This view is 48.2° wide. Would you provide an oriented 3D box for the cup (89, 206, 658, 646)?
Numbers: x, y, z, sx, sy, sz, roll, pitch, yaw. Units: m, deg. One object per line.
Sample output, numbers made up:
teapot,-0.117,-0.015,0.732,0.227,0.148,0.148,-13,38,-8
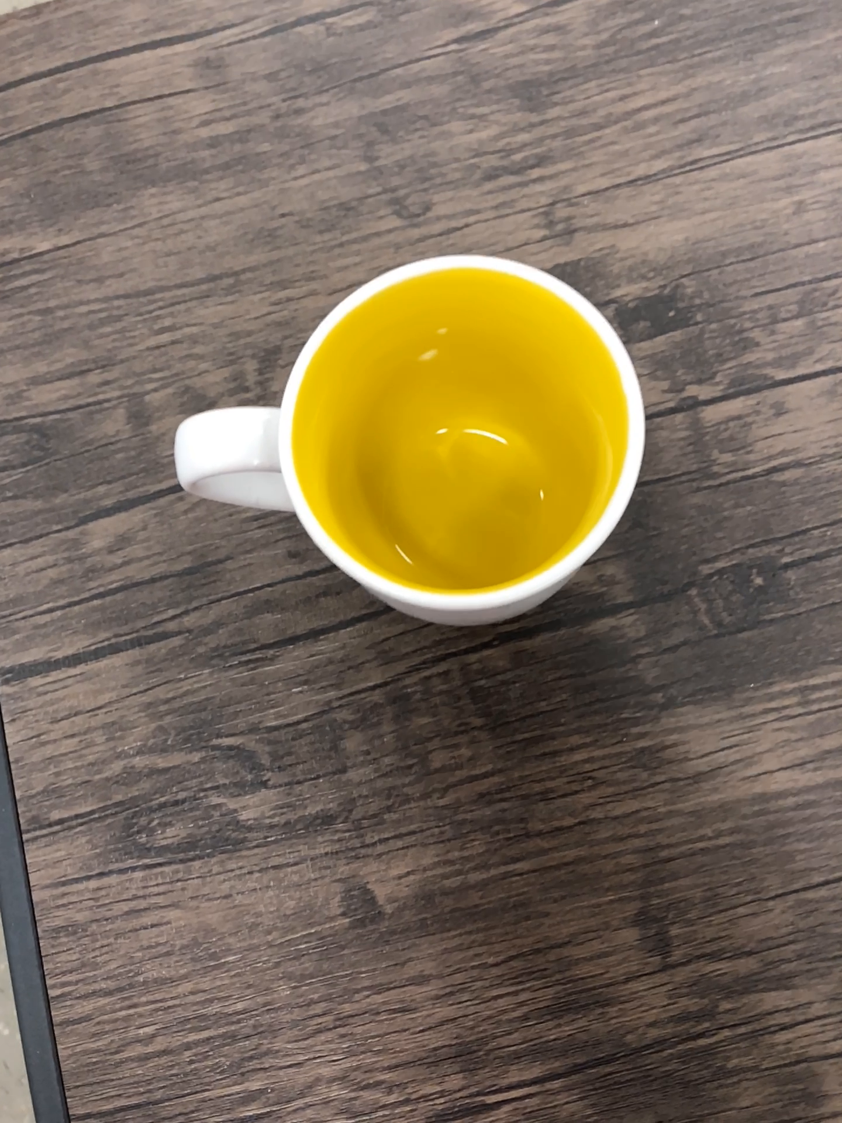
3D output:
cup,-0.012,-0.032,0.284,0.140,0.090,0.100,-3,79,3
